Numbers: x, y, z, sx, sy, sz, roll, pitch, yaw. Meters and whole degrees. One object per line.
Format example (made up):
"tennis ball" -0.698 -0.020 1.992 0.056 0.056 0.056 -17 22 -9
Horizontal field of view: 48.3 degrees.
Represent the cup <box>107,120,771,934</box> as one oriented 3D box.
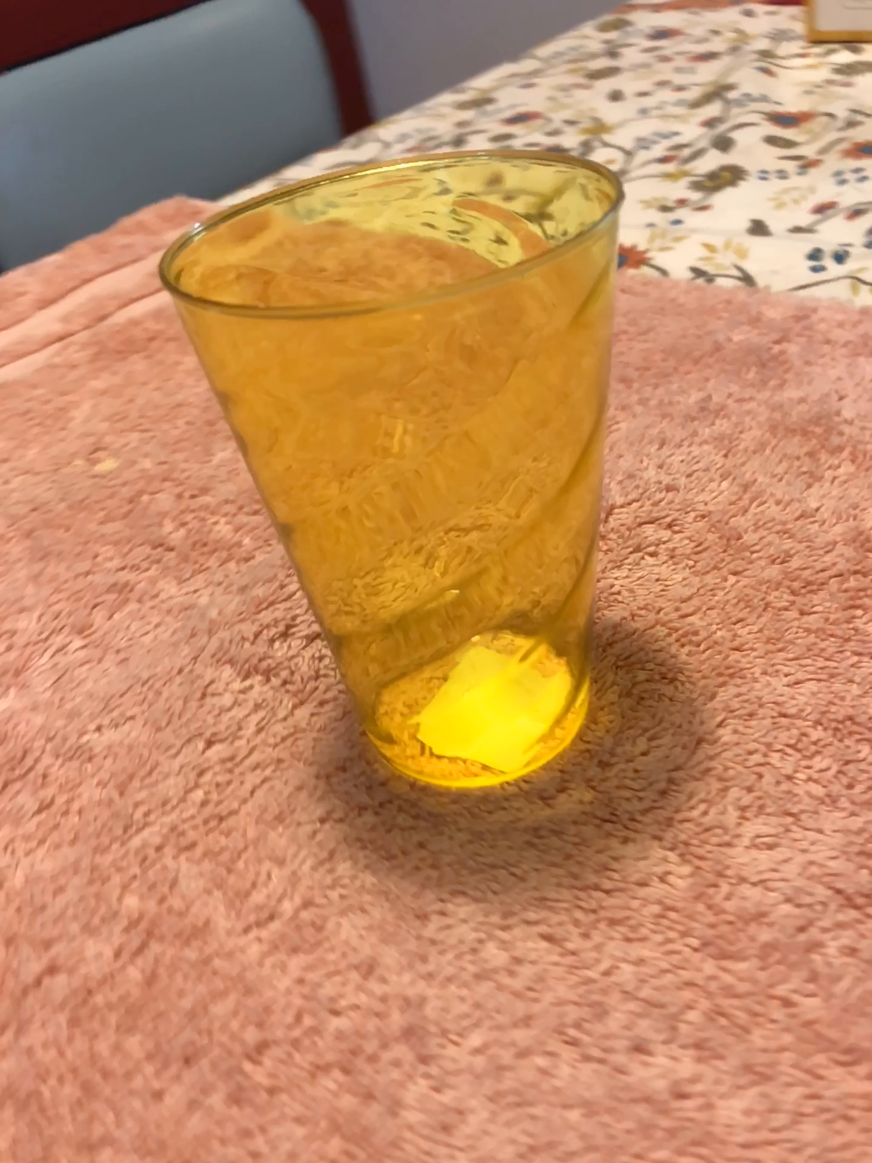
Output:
"cup" 0.006 -0.013 0.196 0.080 0.119 0.080 -8 38 7
